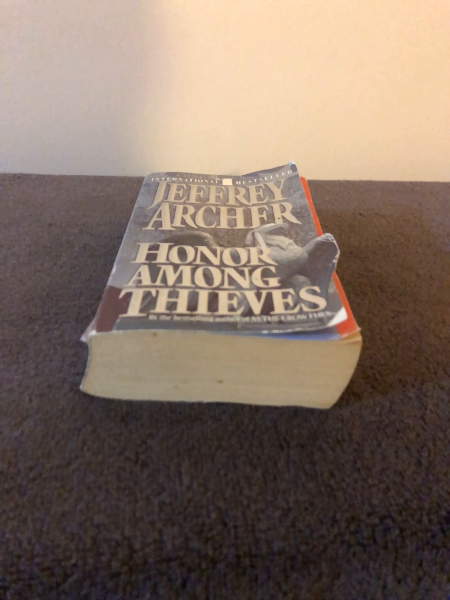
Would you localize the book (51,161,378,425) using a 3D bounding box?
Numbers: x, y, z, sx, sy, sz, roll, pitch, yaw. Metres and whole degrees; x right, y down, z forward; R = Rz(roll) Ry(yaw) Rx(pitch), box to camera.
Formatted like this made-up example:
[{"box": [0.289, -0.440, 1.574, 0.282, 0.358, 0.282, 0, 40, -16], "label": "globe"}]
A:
[{"box": [-0.004, -0.021, 0.272, 0.120, 0.040, 0.191, 4, 34, -2], "label": "book"}]
